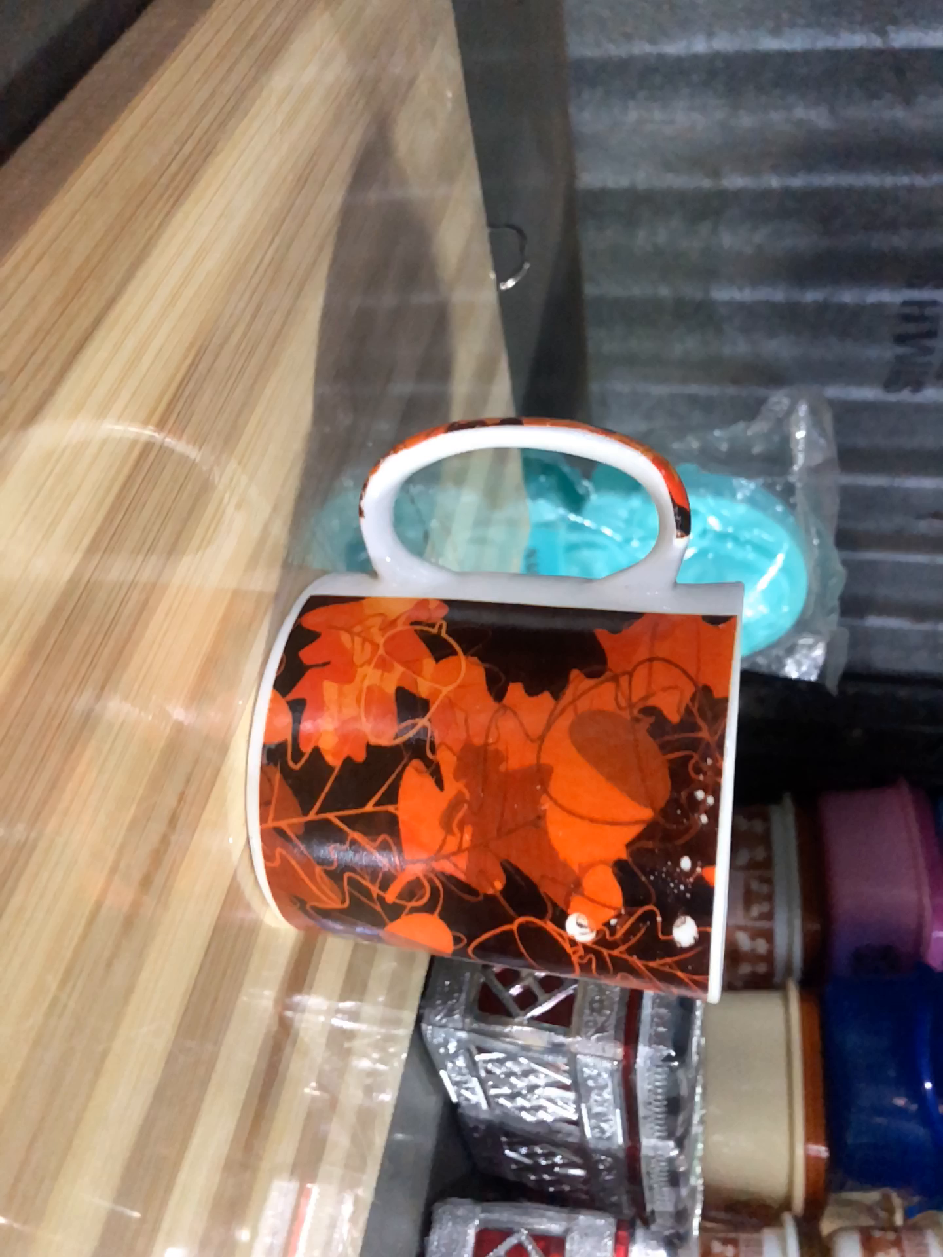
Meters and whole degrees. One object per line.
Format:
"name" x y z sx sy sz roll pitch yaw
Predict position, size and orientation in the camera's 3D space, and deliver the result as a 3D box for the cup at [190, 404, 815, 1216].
"cup" 0.011 0.021 0.186 0.080 0.080 0.110 -52 144 -69
